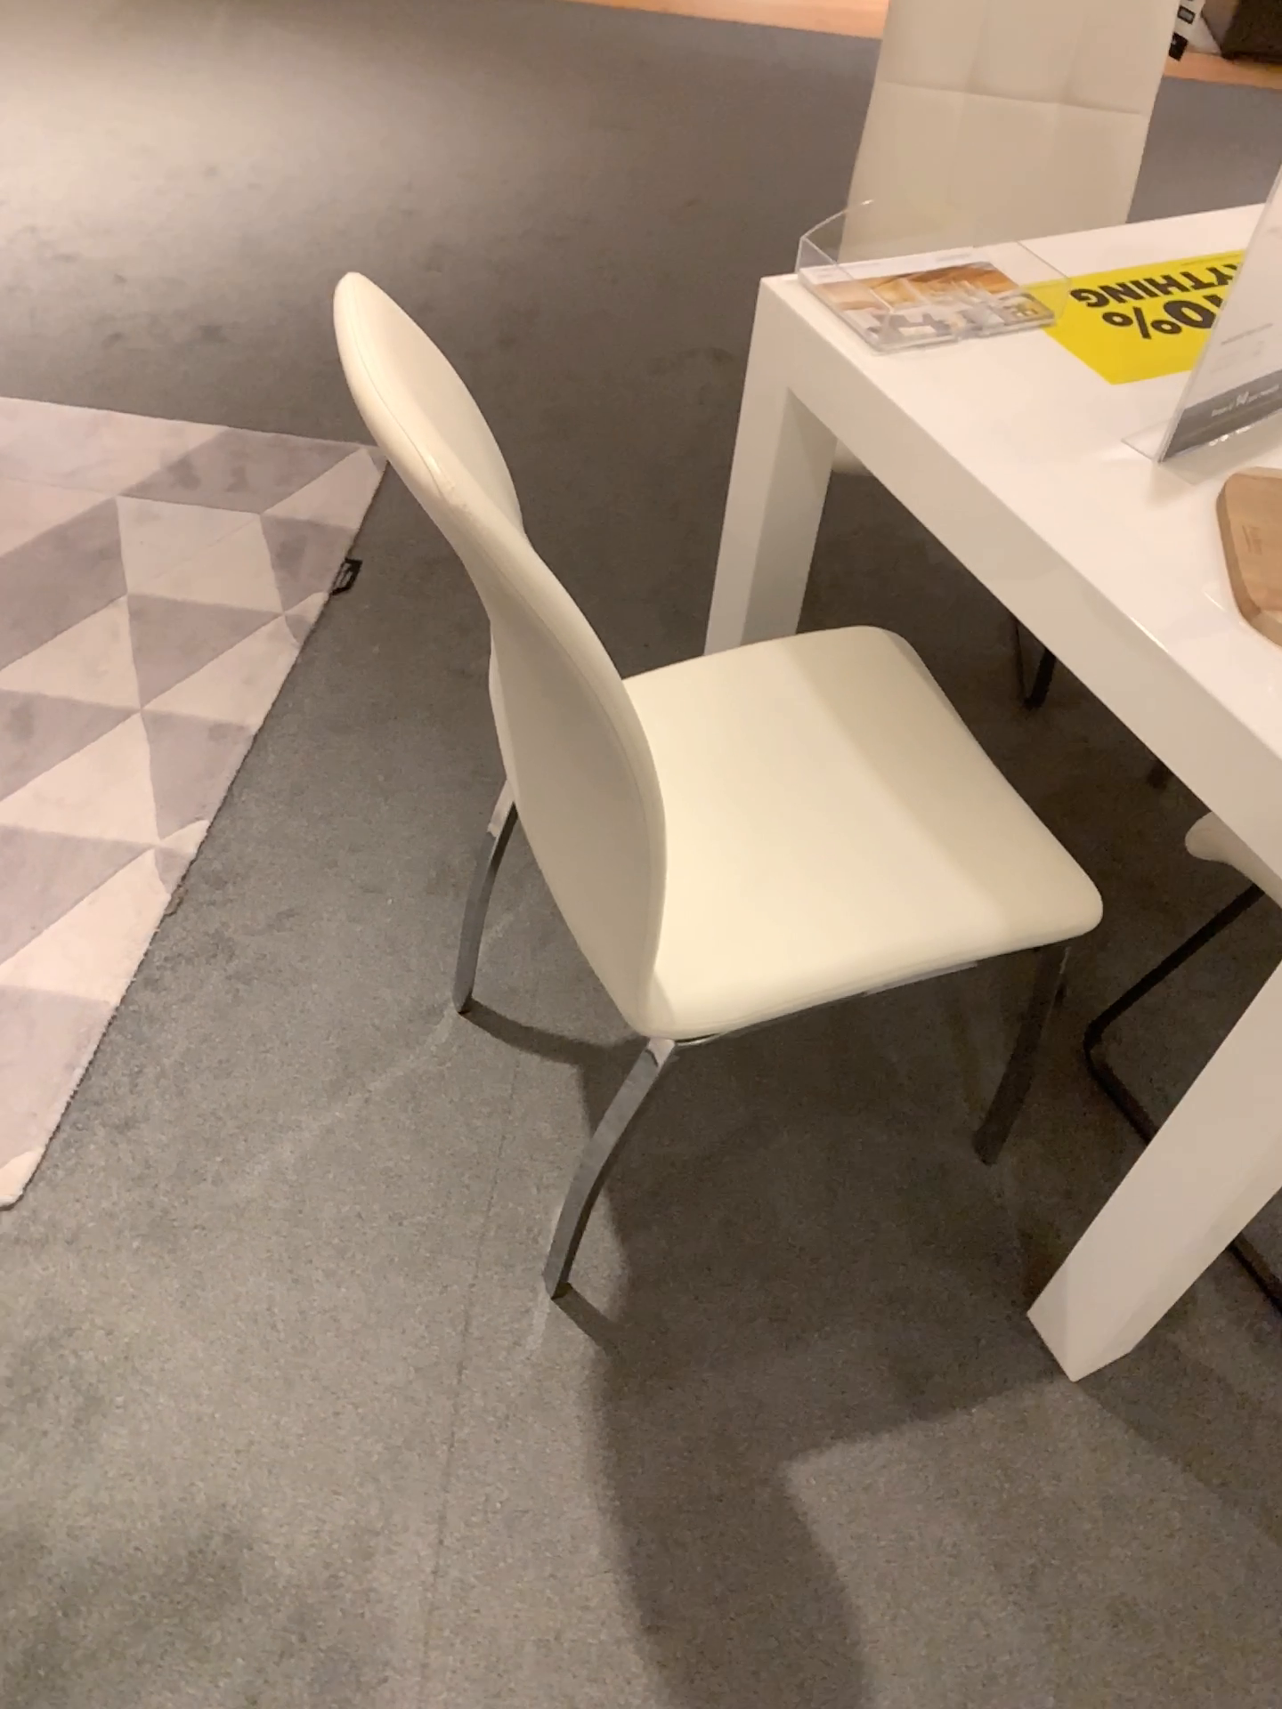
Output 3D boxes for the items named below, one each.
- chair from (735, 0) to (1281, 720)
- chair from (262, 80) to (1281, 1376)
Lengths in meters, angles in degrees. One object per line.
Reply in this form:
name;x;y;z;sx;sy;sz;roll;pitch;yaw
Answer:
chair;0.452;-0.747;1.777;0.477;0.908;0.574;10;48;3
chair;0.095;-0.059;1.154;0.610;0.938;0.491;-16;52;-19
